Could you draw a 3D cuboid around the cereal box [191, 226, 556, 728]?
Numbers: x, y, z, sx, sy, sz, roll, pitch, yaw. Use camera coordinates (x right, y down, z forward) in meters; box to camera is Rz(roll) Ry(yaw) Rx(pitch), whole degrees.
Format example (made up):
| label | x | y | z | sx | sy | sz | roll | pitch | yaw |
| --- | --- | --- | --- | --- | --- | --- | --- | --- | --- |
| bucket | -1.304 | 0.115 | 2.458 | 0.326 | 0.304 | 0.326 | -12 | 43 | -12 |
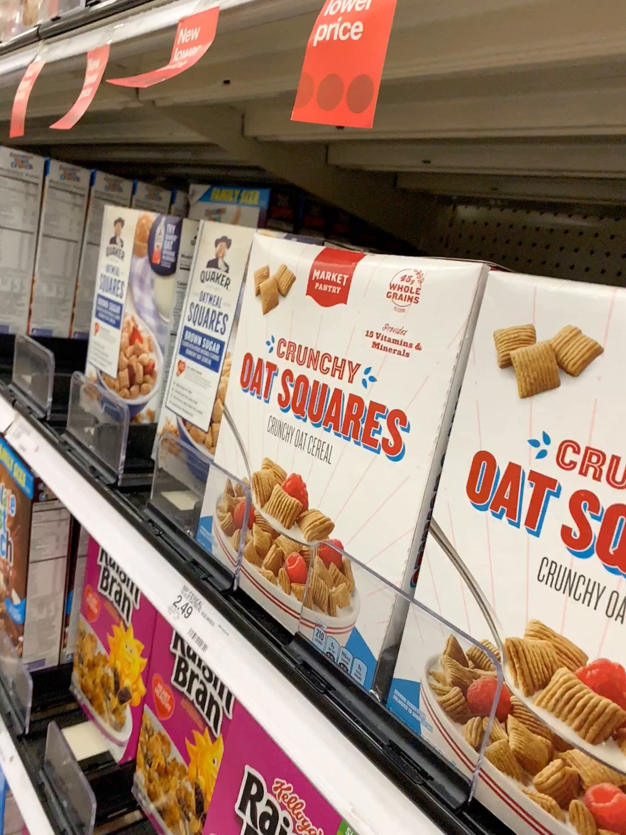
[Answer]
| label | x | y | z | sx | sy | sz | roll | pitch | yaw |
| --- | --- | --- | --- | --- | --- | --- | --- | --- | --- |
| cereal box | 0.018 | 0.020 | 0.410 | 0.060 | 0.249 | 0.190 | 1 | 16 | -43 |
